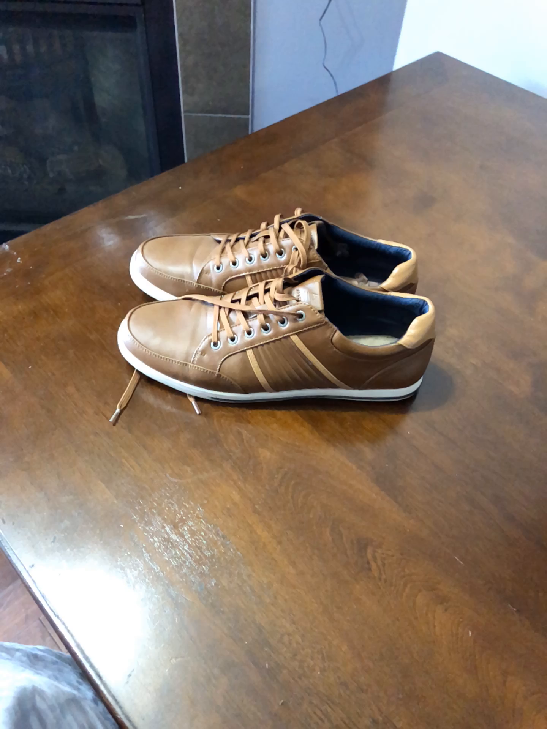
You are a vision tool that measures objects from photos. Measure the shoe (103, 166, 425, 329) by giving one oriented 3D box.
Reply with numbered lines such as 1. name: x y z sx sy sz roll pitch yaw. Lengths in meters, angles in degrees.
1. shoe: -0.006 -0.119 0.607 0.290 0.080 0.110 6 50 2

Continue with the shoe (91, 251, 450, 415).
1. shoe: -0.002 -0.029 0.555 0.290 0.080 0.110 3 50 -1
